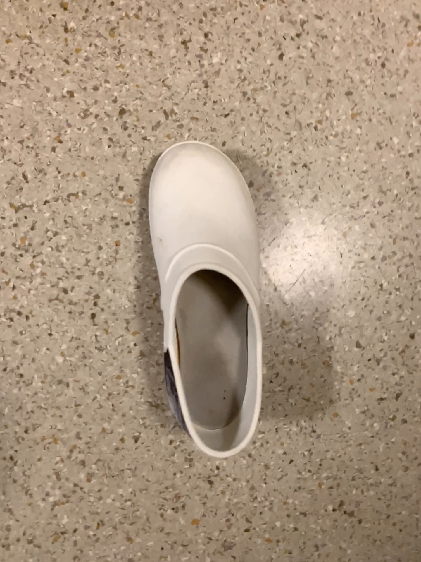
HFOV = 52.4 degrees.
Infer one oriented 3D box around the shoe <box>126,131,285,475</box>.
[{"bbox_3d":[-0.007,0.015,0.374,0.107,0.102,0.254,-3,91,-5],"label":"shoe"}]
